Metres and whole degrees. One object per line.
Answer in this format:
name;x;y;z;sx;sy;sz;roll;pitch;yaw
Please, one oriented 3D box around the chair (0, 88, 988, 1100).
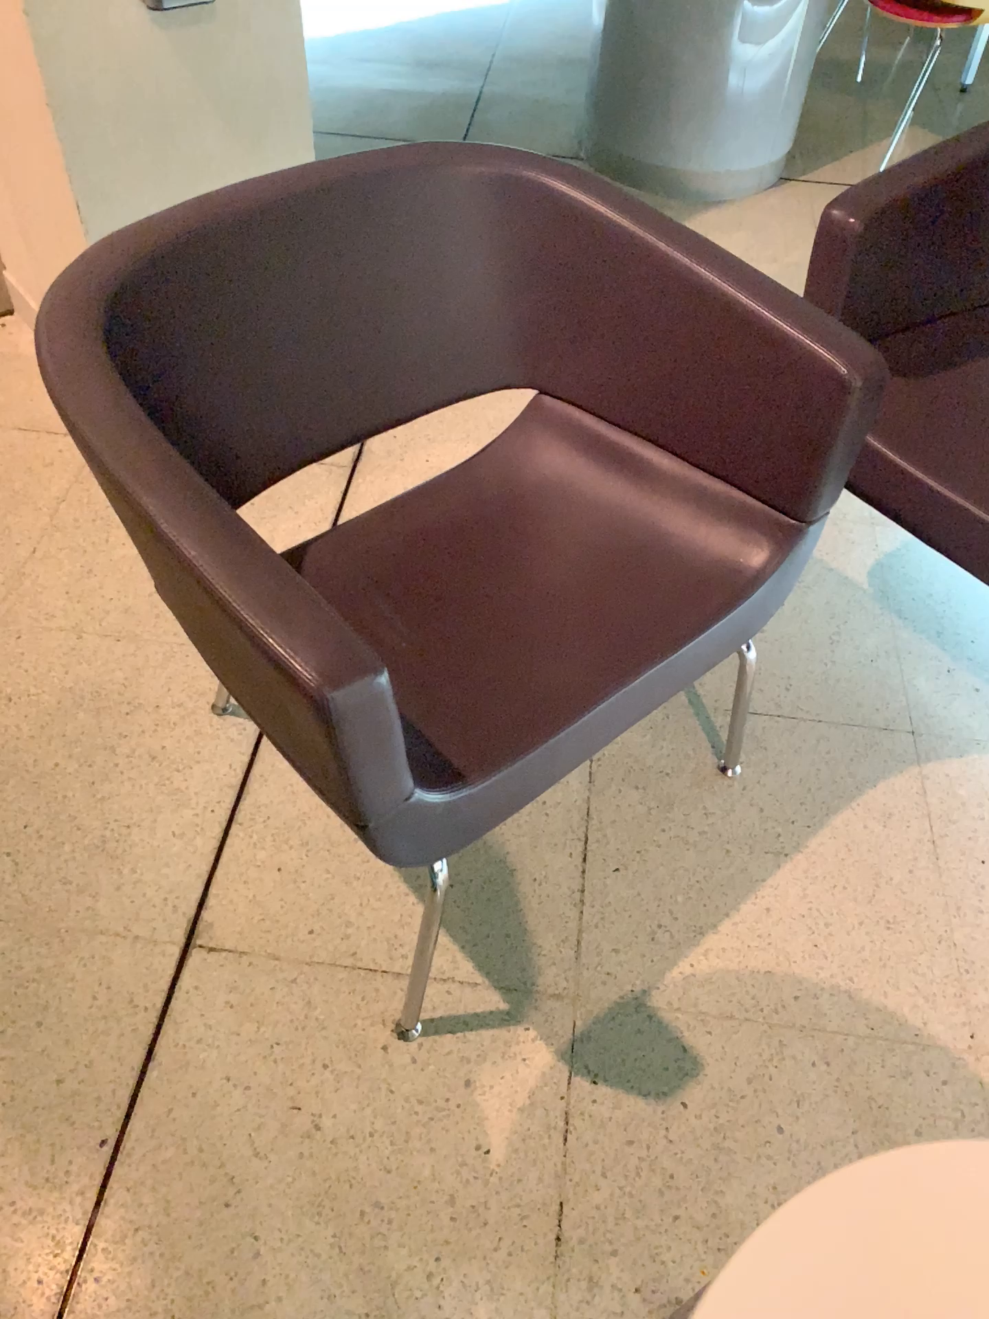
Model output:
chair;-0.024;-0.125;1.236;0.733;0.714;0.754;-30;56;-26
